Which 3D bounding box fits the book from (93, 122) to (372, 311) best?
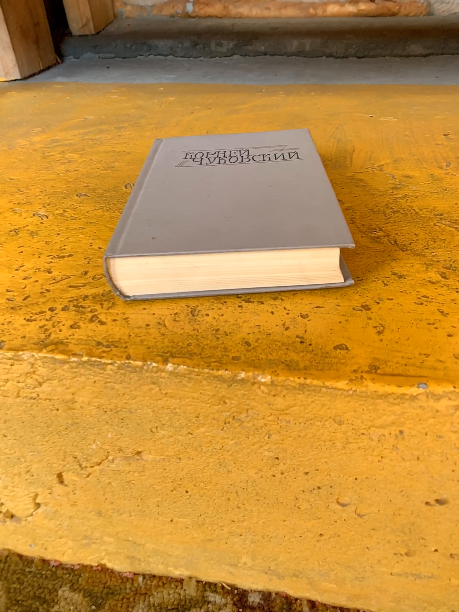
[{"bbox_3d":[0.003,-0.078,0.331,0.139,0.030,0.218,-3,36,3],"label":"book"}]
